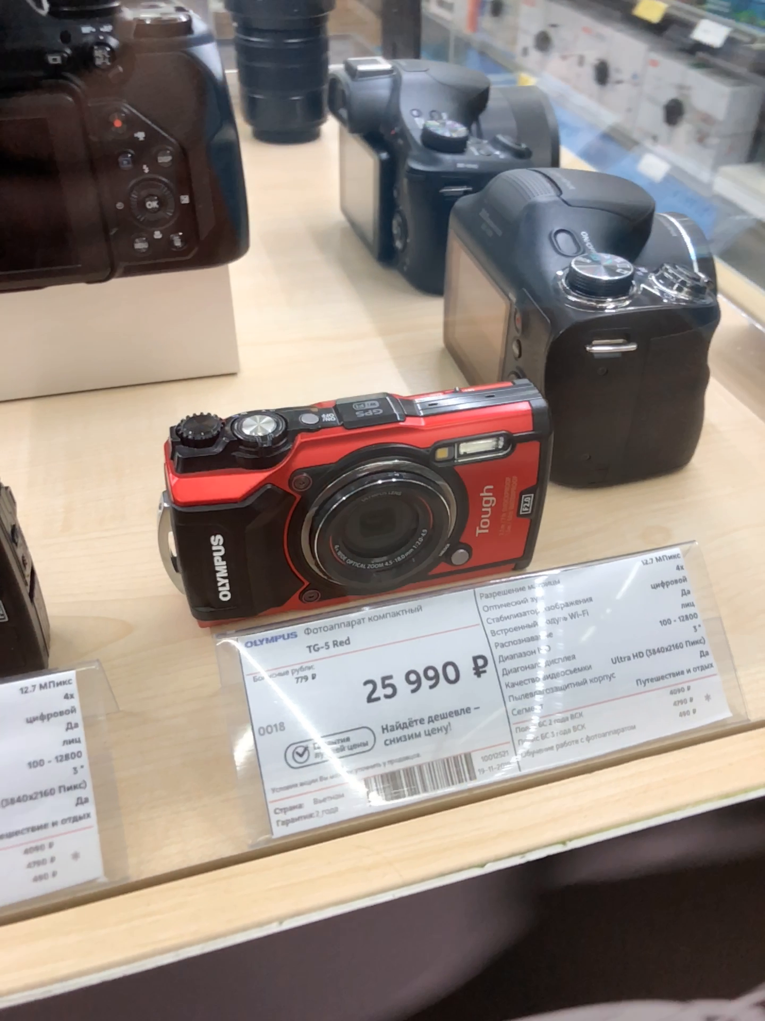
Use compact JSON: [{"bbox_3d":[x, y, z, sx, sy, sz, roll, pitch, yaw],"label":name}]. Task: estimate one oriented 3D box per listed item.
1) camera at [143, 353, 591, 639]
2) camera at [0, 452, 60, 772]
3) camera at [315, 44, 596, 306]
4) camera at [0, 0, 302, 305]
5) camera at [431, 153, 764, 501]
[{"bbox_3d":[-0.004,-0.005,0.251,0.119,0.061,0.030,-9,40,-12],"label":"camera"},{"bbox_3d":[-0.154,0.026,0.227,0.116,0.061,0.030,-9,40,-12],"label":"camera"},{"bbox_3d":[0.030,-0.195,0.478,0.102,0.086,0.159,-10,41,-12],"label":"camera"},{"bbox_3d":[-0.116,-0.152,0.316,0.147,0.086,0.127,-9,40,-12],"label":"camera"},{"bbox_3d":[0.083,-0.077,0.328,0.094,0.078,0.117,-9,40,-12],"label":"camera"}]
